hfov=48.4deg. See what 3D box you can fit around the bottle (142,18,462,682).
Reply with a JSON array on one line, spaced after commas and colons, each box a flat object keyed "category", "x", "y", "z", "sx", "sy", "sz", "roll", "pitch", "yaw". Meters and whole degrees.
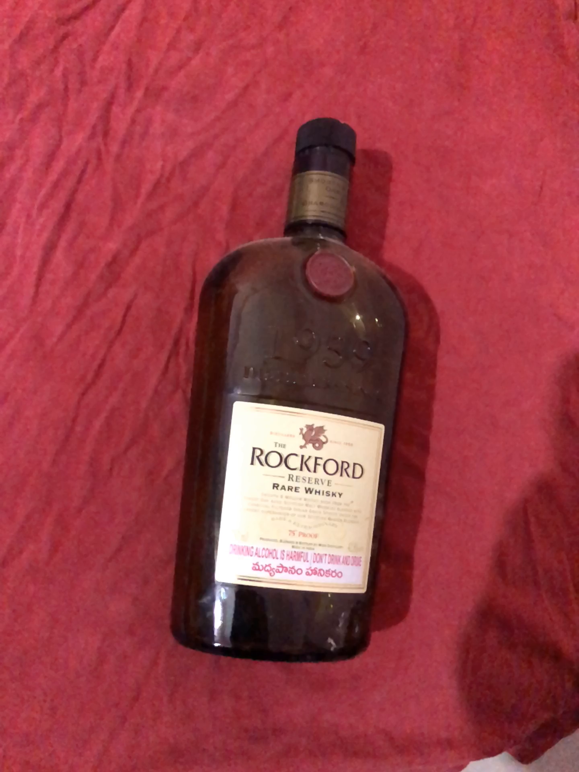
[{"category": "bottle", "x": 0.007, "y": -0.015, "z": 0.279, "sx": 0.100, "sy": 0.060, "sz": 0.250, "roll": 9, "pitch": 80, "yaw": -15}]
